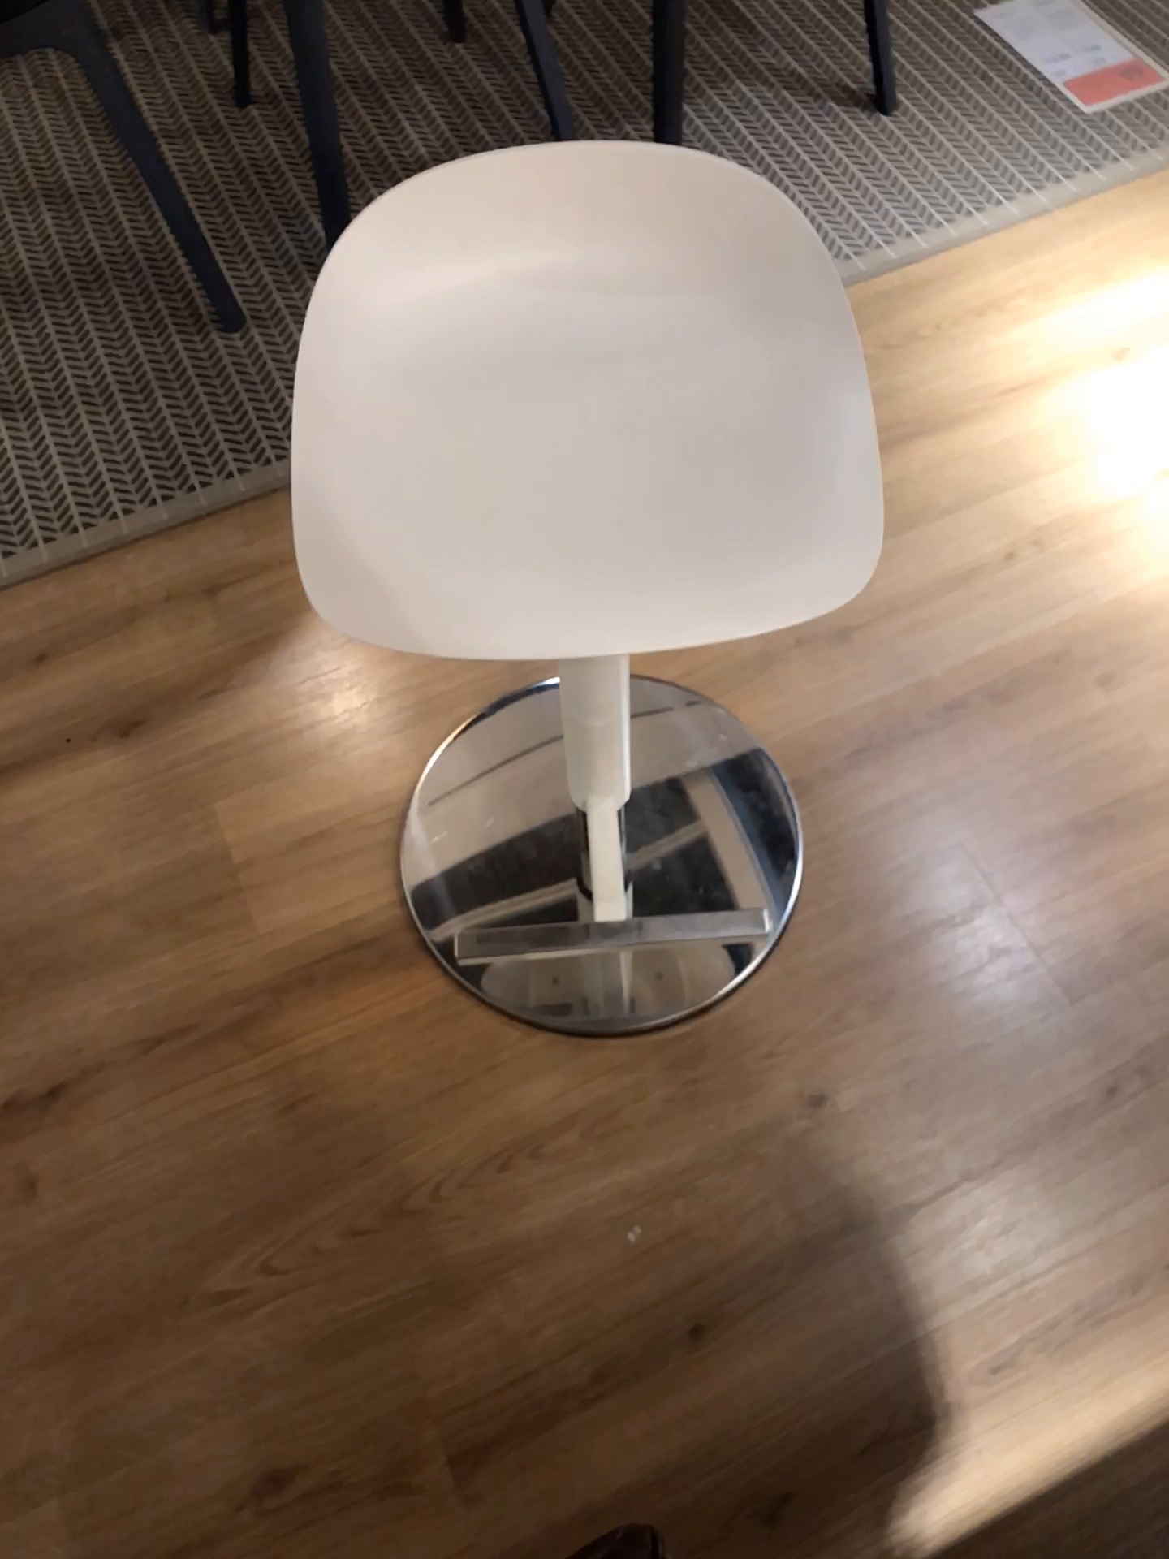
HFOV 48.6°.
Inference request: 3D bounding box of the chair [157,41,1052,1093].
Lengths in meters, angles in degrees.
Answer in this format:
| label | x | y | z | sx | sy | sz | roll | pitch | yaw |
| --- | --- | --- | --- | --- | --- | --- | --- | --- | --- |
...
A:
| label | x | y | z | sx | sy | sz | roll | pitch | yaw |
| --- | --- | --- | --- | --- | --- | --- | --- | --- | --- |
| chair | -0.003 | -0.099 | 1.047 | 0.440 | 0.699 | 0.451 | -7 | 59 | -2 |
